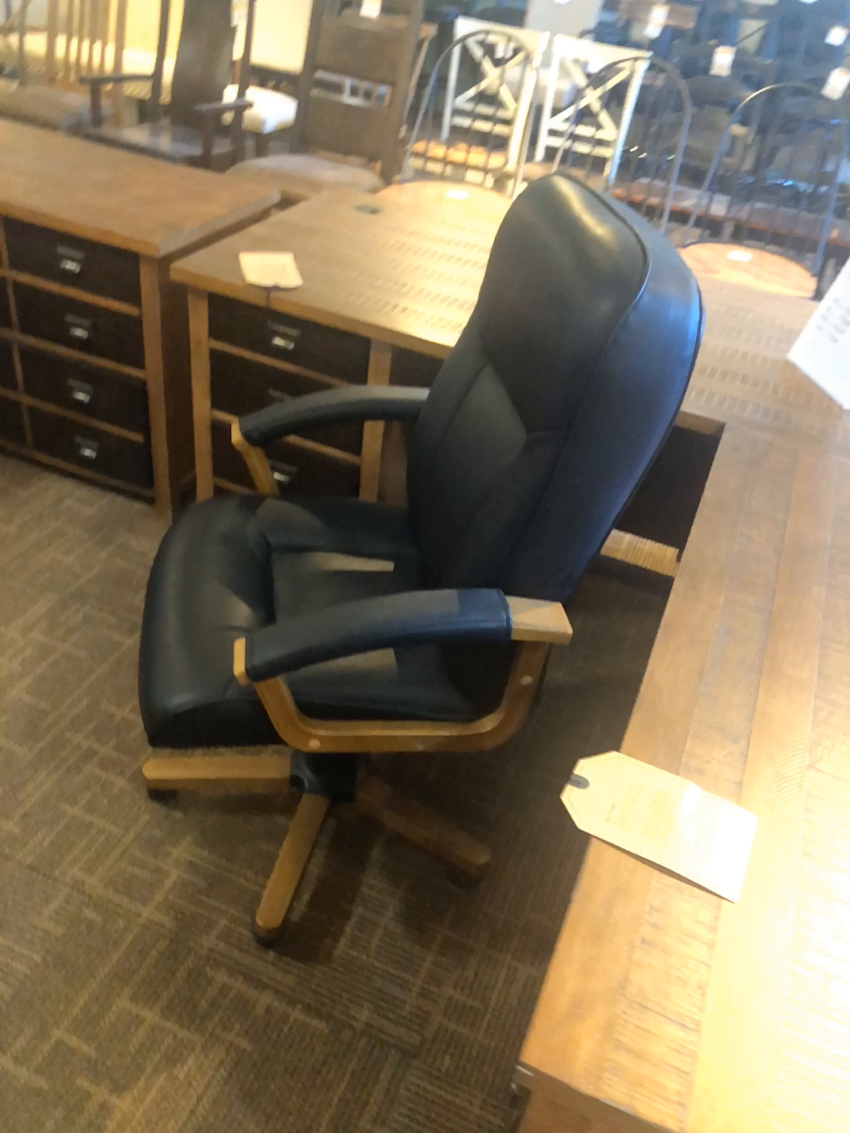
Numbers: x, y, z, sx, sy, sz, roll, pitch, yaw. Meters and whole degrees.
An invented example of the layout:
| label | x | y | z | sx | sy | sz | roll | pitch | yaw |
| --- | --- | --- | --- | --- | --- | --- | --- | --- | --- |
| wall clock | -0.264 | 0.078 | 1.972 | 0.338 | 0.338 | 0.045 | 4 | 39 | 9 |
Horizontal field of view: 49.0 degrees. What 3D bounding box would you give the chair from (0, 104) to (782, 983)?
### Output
| label | x | y | z | sx | sy | sz | roll | pitch | yaw |
| --- | --- | --- | --- | --- | --- | --- | --- | --- | --- |
| chair | -0.118 | -0.003 | 1.461 | 0.742 | 1.105 | 0.742 | 3 | 37 | -7 |
